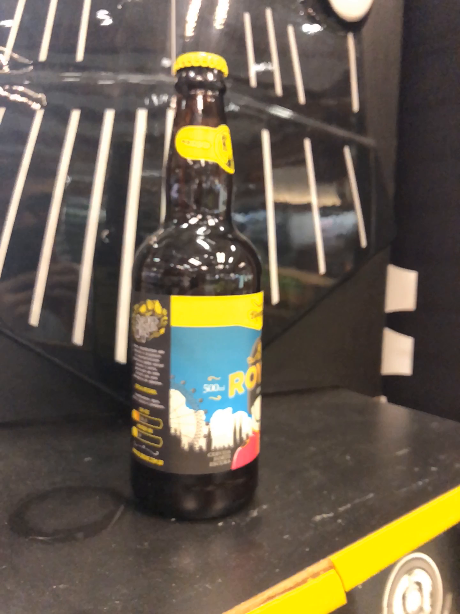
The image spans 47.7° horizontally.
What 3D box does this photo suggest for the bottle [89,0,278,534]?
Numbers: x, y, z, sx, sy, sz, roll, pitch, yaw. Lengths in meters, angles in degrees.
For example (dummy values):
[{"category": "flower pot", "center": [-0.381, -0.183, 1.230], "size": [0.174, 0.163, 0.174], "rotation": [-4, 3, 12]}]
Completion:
[{"category": "bottle", "center": [-0.020, -0.023, 0.272], "size": [0.070, 0.240, 0.080], "rotation": [3, 6, 16]}]
